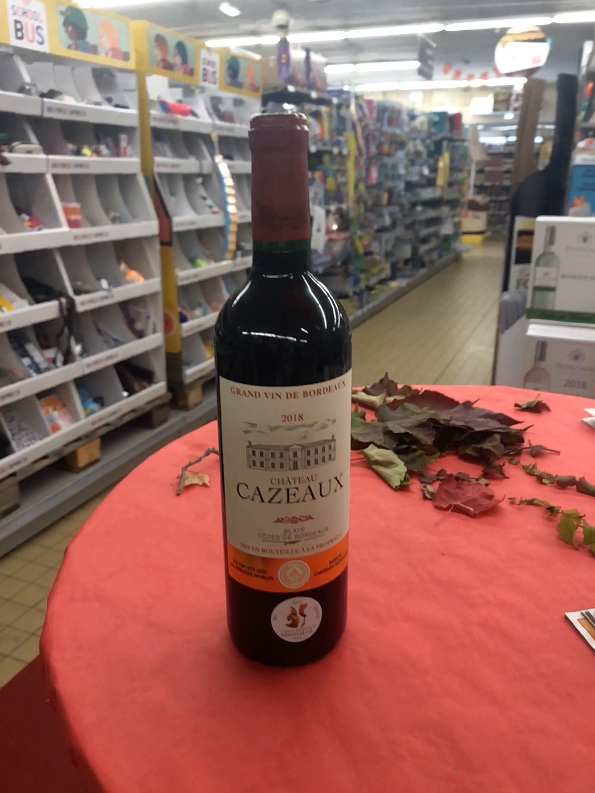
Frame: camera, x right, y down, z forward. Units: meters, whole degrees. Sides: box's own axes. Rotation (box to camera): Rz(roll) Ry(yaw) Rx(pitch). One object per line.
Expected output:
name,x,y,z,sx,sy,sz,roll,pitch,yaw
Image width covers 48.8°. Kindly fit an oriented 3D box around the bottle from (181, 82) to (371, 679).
bottle,-0.015,-0.001,0.359,0.080,0.299,0.080,0,18,0
